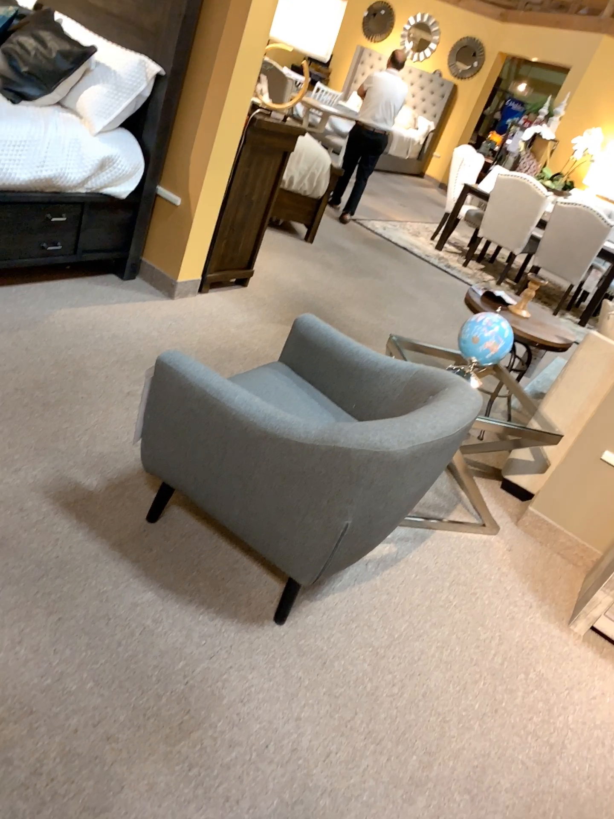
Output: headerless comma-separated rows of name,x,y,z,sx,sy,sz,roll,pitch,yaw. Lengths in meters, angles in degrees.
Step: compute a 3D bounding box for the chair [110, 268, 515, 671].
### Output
chair,0.019,0.093,1.863,0.742,0.701,0.750,34,30,20
